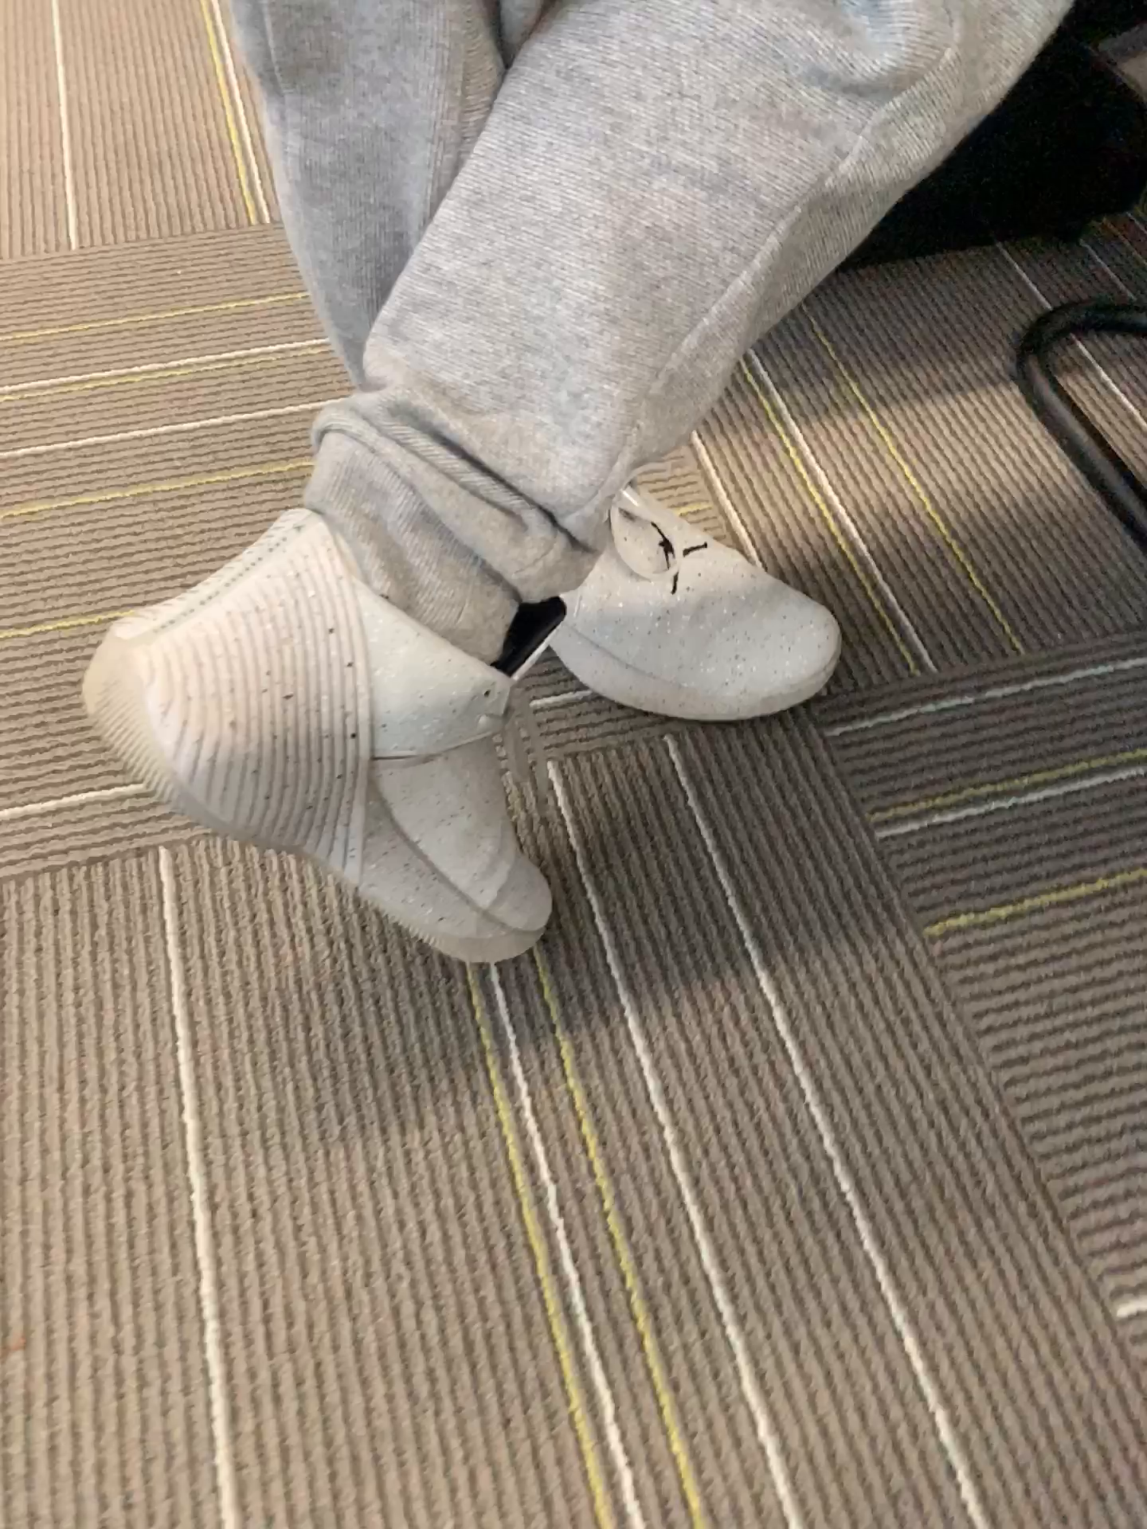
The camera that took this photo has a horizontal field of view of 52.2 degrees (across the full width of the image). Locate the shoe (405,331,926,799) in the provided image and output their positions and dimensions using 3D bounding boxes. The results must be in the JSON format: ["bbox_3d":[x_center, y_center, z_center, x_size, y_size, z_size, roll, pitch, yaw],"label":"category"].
[{"bbox_3d":[0.050,-0.130,0.753,0.280,0.149,0.130,29,61,16],"label":"shoe"}]

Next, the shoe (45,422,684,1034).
[{"bbox_3d":[-0.077,0.001,0.542,0.120,0.279,0.120,-44,51,-2],"label":"shoe"}]
